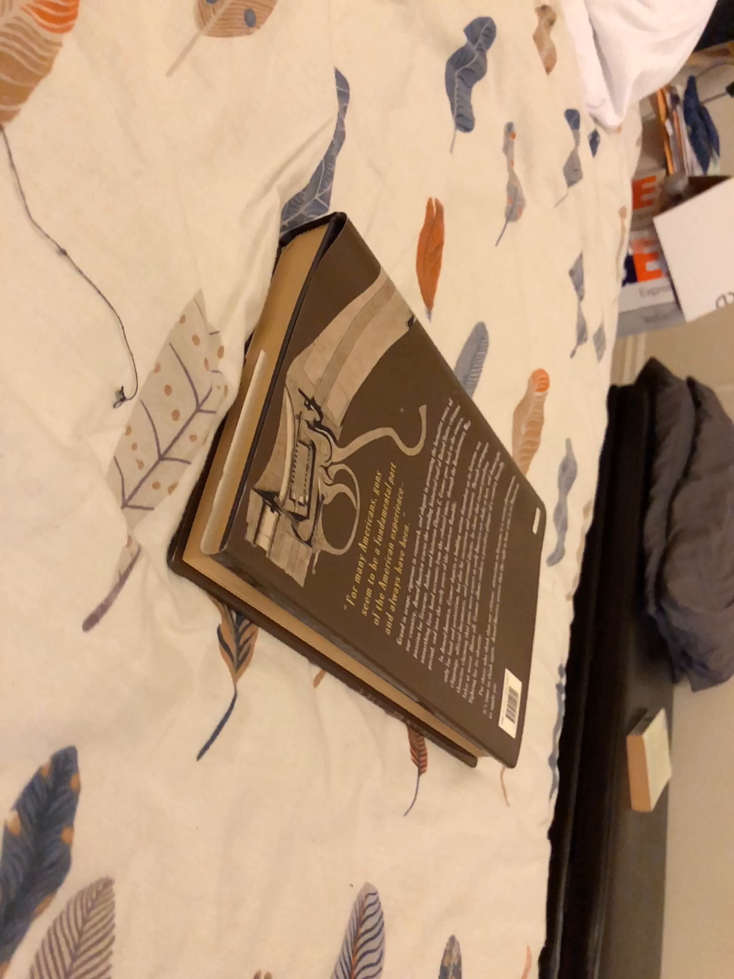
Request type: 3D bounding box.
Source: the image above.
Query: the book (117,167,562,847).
[{"bbox_3d":[0.022,0.025,0.340,0.241,0.030,0.180,49,46,-45],"label":"book"}]
